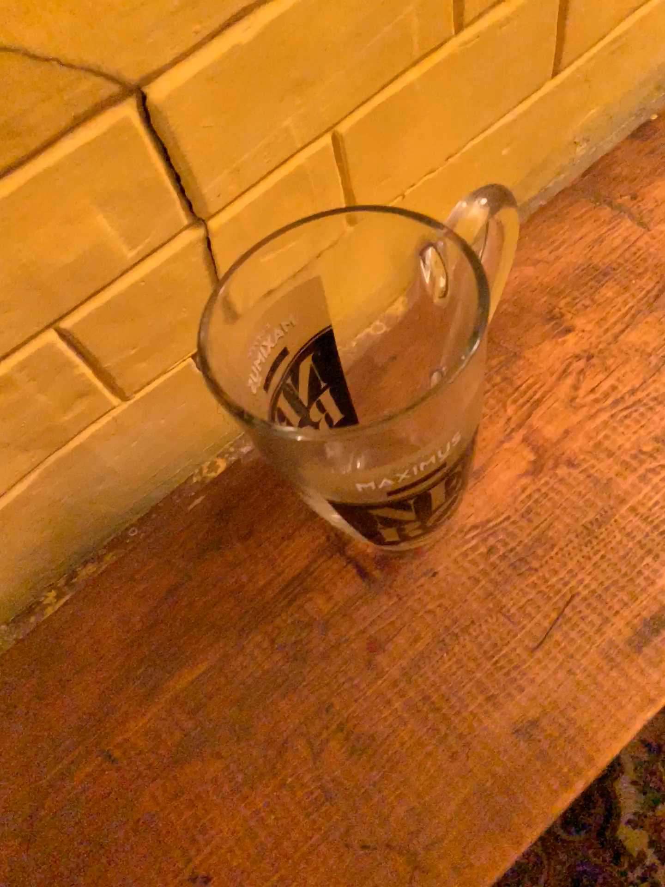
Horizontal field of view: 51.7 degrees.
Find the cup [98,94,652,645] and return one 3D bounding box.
[{"bbox_3d":[0.018,-0.022,0.230,0.093,0.099,0.124,38,75,26],"label":"cup"}]
